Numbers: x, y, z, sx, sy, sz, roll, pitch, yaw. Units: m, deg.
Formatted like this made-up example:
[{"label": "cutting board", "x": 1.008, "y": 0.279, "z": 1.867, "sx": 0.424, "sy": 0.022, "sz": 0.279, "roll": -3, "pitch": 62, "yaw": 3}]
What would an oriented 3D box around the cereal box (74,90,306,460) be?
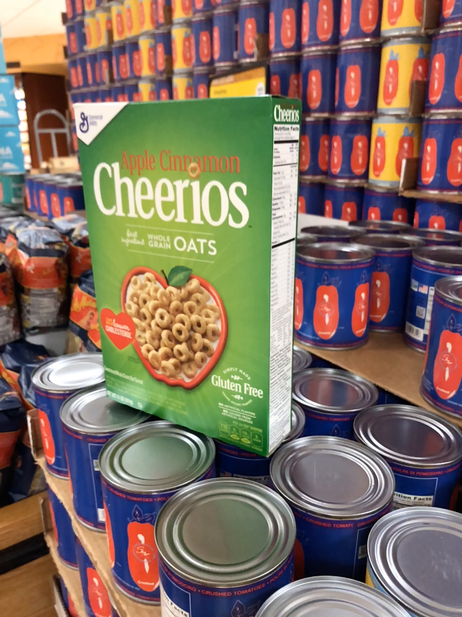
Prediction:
[{"label": "cereal box", "x": -0.039, "y": -0.033, "z": 0.462, "sx": 0.200, "sy": 0.288, "sz": 0.050, "roll": 12, "pitch": 22, "yaw": 32}]
